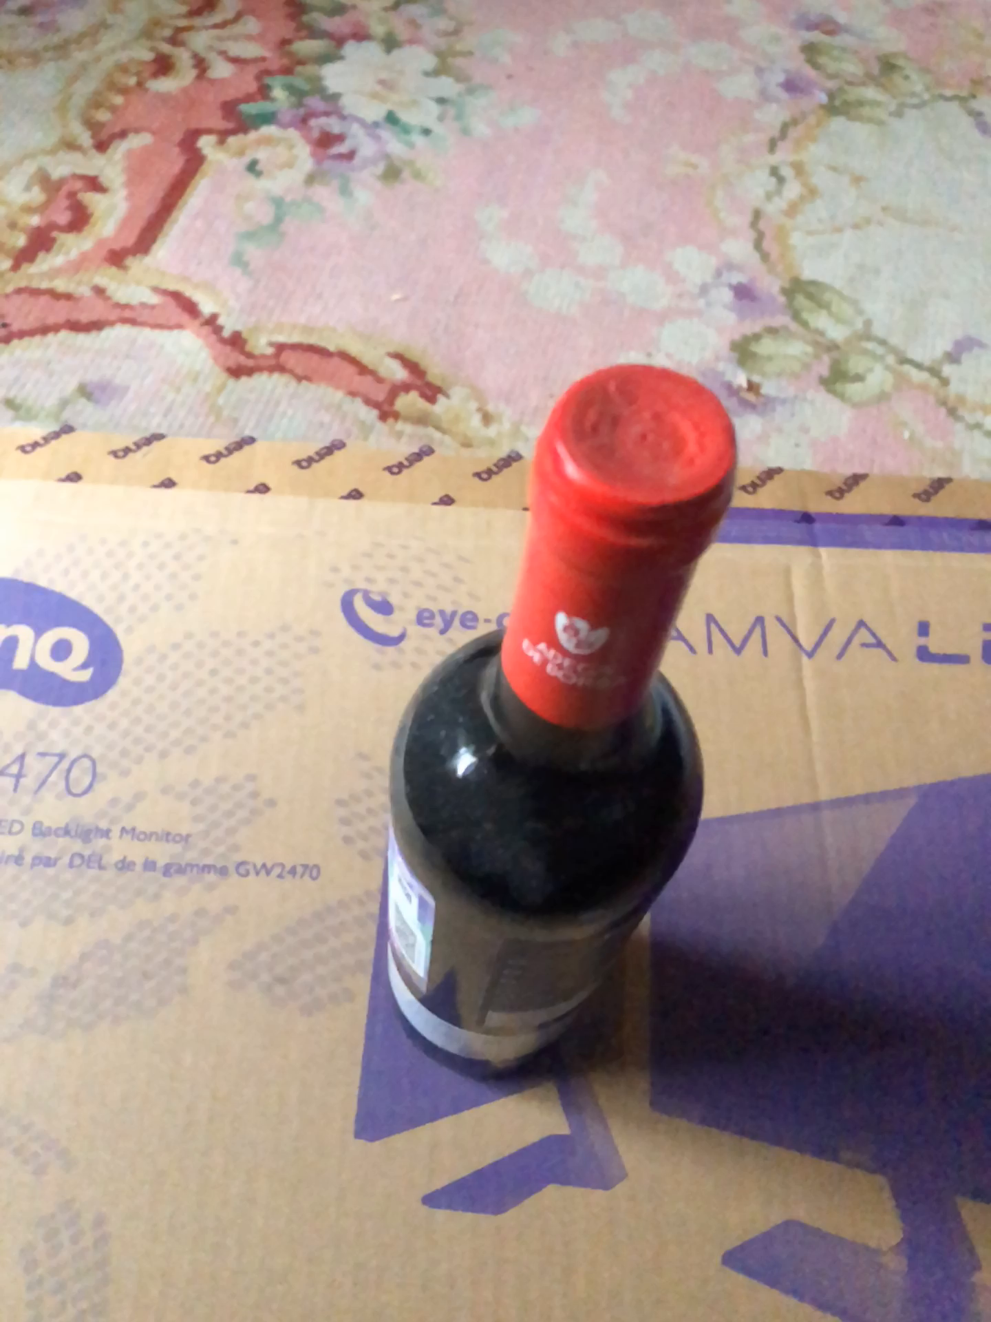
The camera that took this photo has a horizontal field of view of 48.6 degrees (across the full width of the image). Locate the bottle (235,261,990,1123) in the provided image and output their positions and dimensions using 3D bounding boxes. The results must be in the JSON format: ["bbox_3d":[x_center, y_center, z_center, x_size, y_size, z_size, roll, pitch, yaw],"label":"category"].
[{"bbox_3d":[0.009,0.051,0.280,0.090,0.299,0.090,1,62,-3],"label":"bottle"}]
